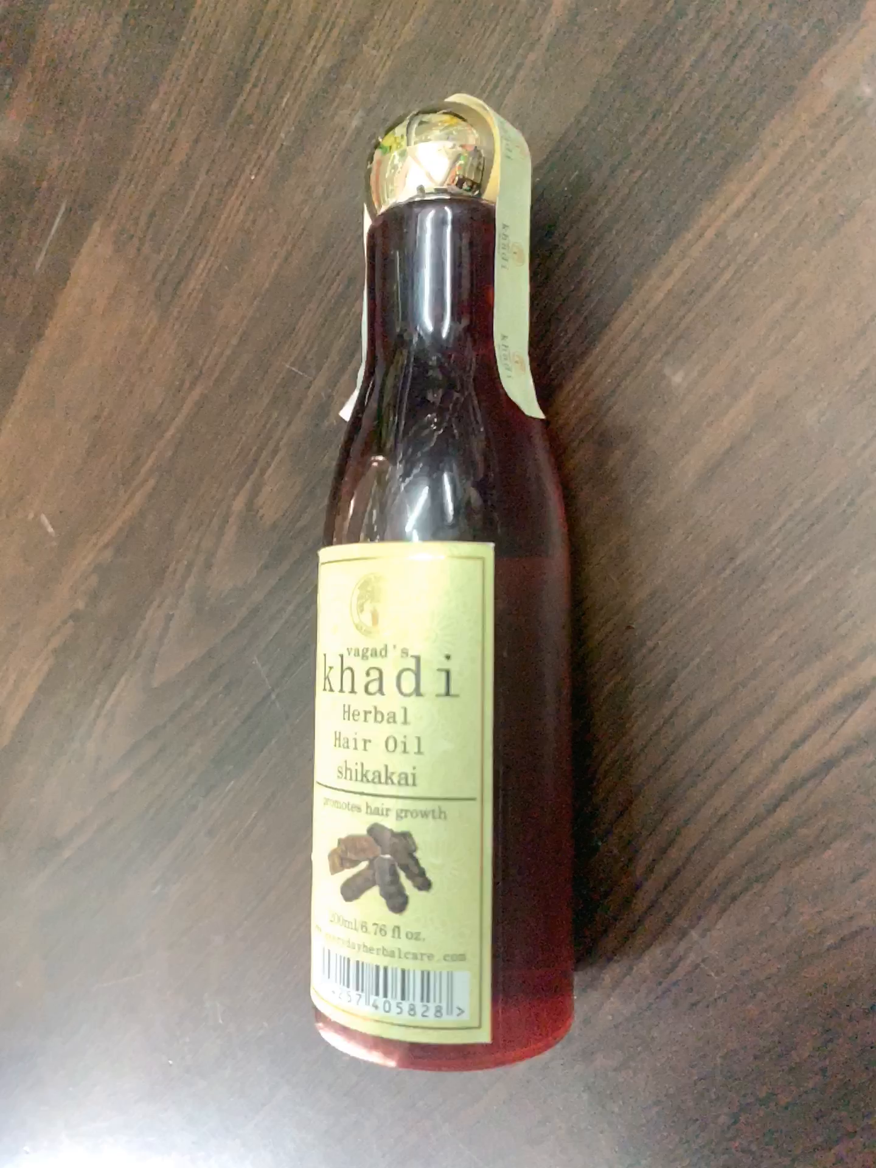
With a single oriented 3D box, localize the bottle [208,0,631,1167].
[{"bbox_3d":[-0.001,-0.001,0.163,0.050,0.050,0.170,-2,84,37],"label":"bottle"}]
